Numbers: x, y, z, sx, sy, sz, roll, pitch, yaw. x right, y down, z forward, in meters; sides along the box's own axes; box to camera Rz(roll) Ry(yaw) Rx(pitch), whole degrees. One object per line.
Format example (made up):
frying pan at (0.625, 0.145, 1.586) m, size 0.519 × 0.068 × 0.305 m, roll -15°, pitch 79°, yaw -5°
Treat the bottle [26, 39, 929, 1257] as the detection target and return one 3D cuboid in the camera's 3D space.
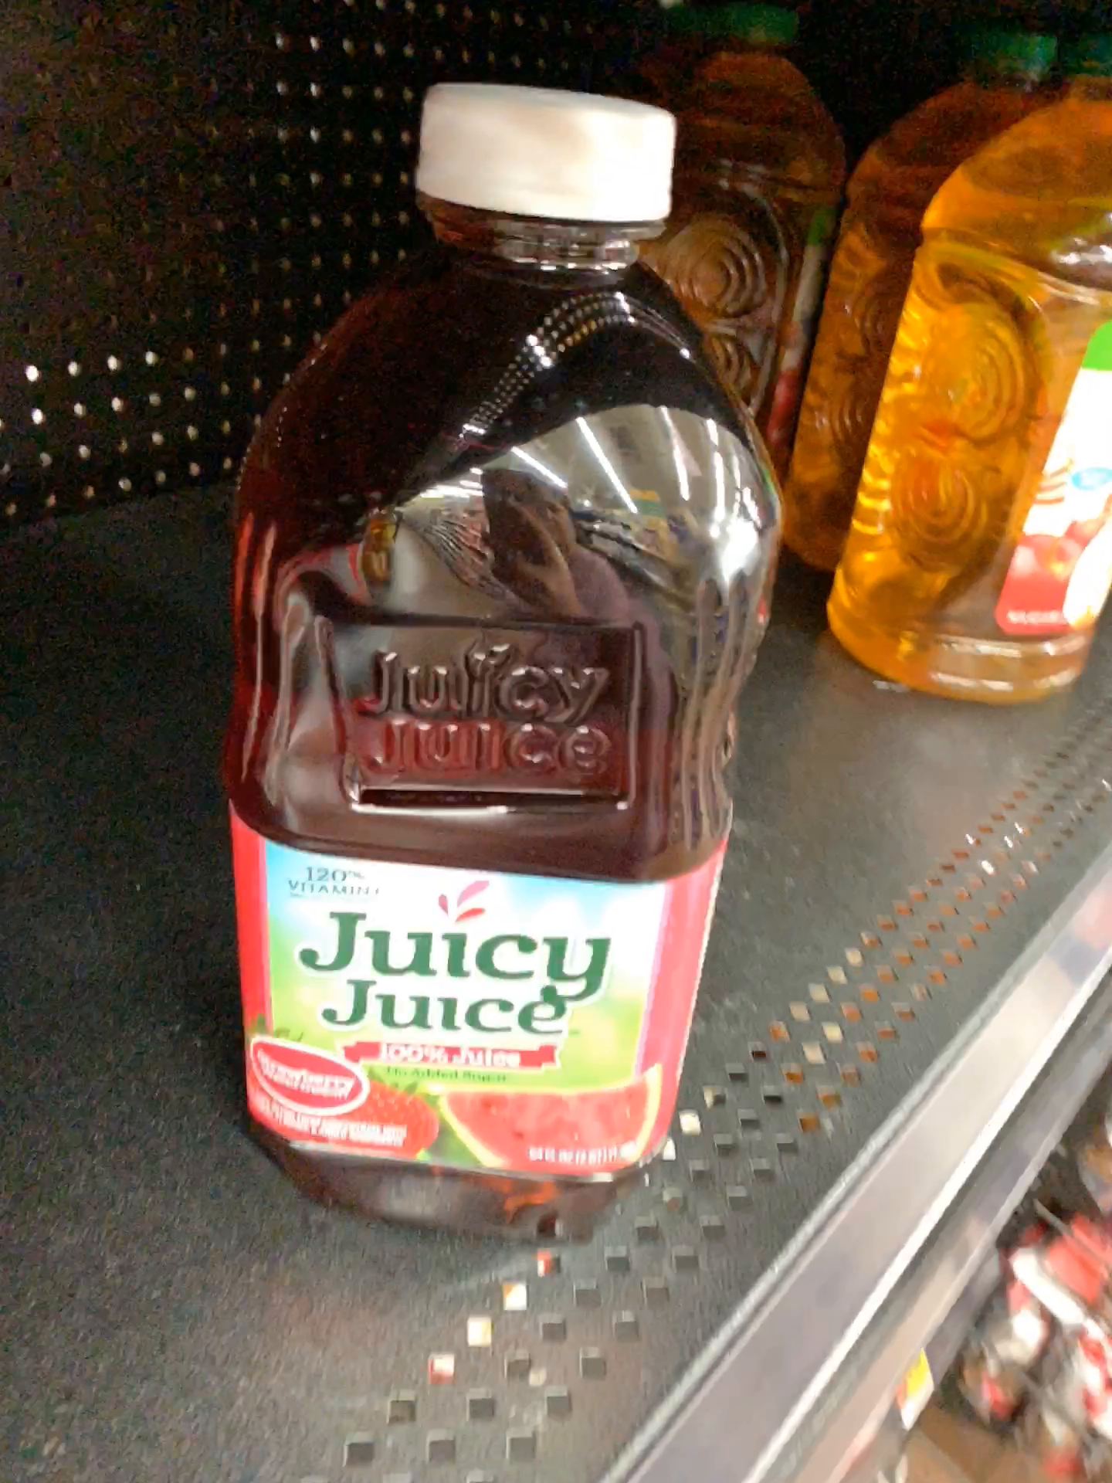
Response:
bottle at (-0.023, -0.004, 0.265) m, size 0.125 × 0.255 × 0.090 m, roll 6°, pitch 33°, yaw -2°
